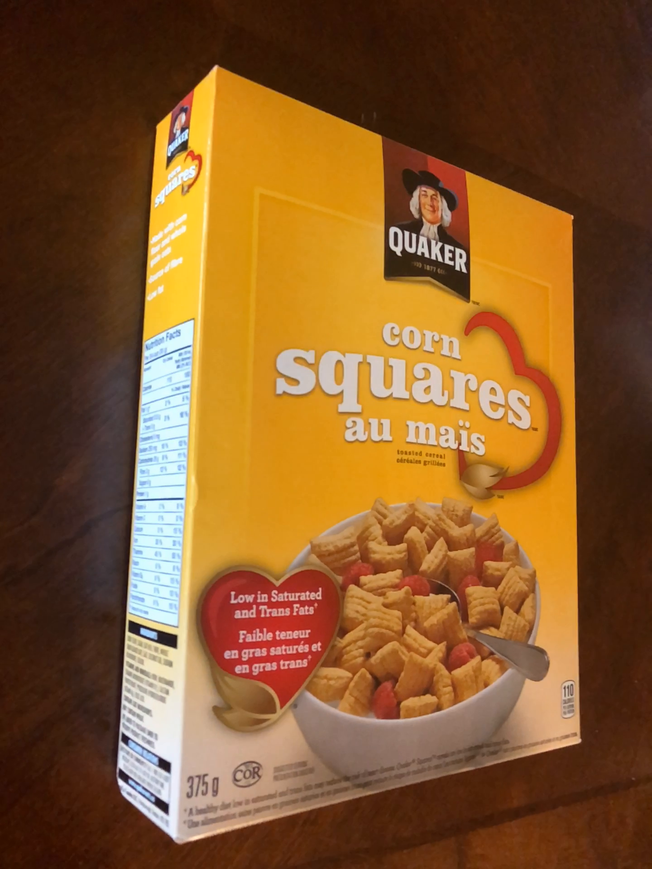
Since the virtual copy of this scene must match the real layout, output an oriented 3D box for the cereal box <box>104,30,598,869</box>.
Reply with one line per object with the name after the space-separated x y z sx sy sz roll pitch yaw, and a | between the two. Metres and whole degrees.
0.030 0.010 0.310 0.221 0.050 0.270 7 81 -37 | cereal box
